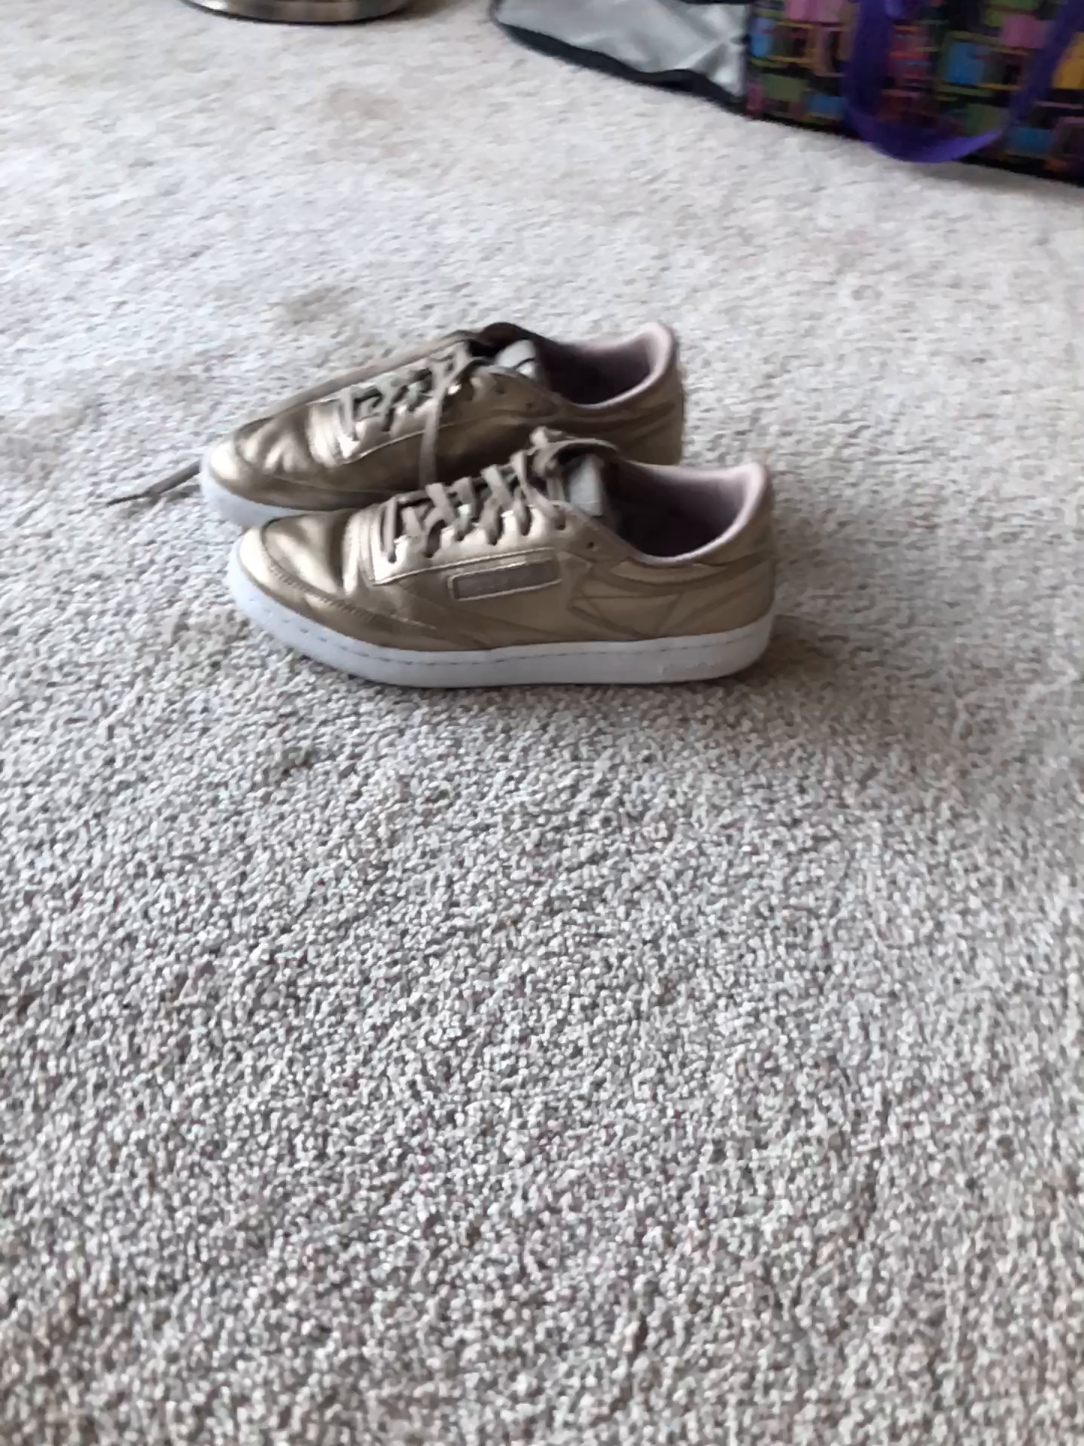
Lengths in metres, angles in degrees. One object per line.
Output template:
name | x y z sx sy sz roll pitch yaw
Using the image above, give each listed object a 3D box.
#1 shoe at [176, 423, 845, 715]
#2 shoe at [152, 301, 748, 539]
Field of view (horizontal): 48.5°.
shoe | -0.015 -0.073 0.566 0.280 0.070 0.110 2 44 -5
shoe | -0.048 -0.157 0.628 0.280 0.070 0.110 -1 45 -9
